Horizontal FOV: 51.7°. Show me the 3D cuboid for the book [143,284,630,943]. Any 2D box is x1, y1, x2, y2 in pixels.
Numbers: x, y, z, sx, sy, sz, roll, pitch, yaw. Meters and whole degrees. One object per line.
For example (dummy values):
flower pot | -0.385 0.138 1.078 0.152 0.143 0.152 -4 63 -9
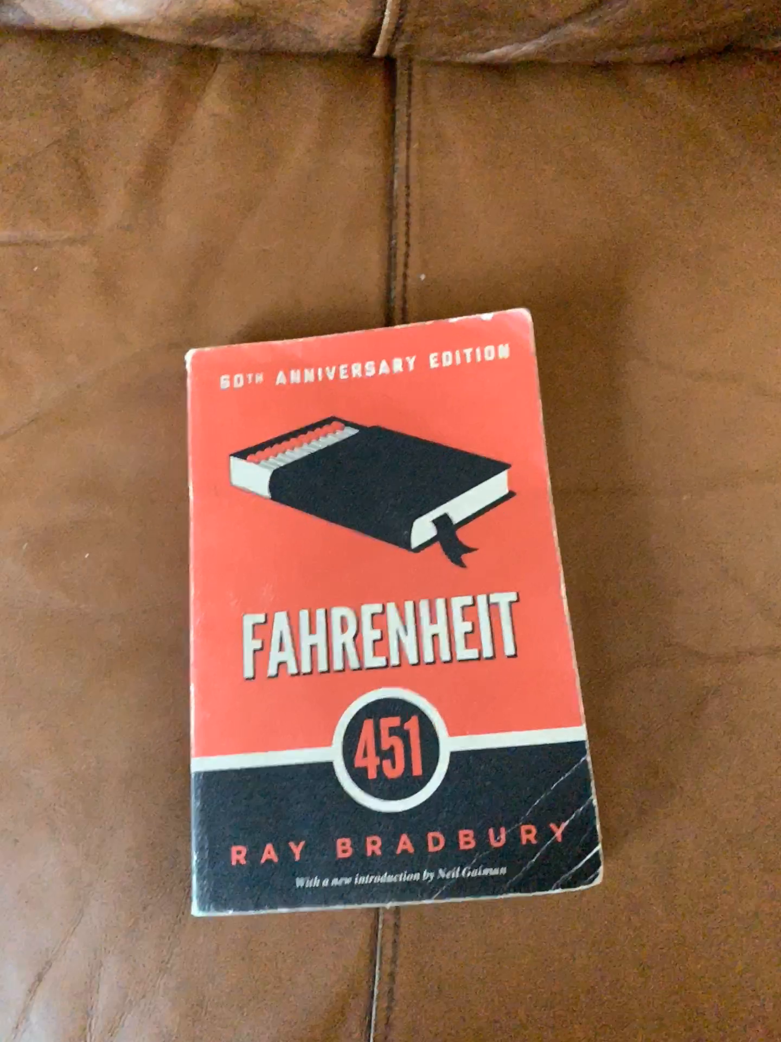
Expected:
book | -0.011 0.024 0.300 0.150 0.040 0.220 -5 72 -2
